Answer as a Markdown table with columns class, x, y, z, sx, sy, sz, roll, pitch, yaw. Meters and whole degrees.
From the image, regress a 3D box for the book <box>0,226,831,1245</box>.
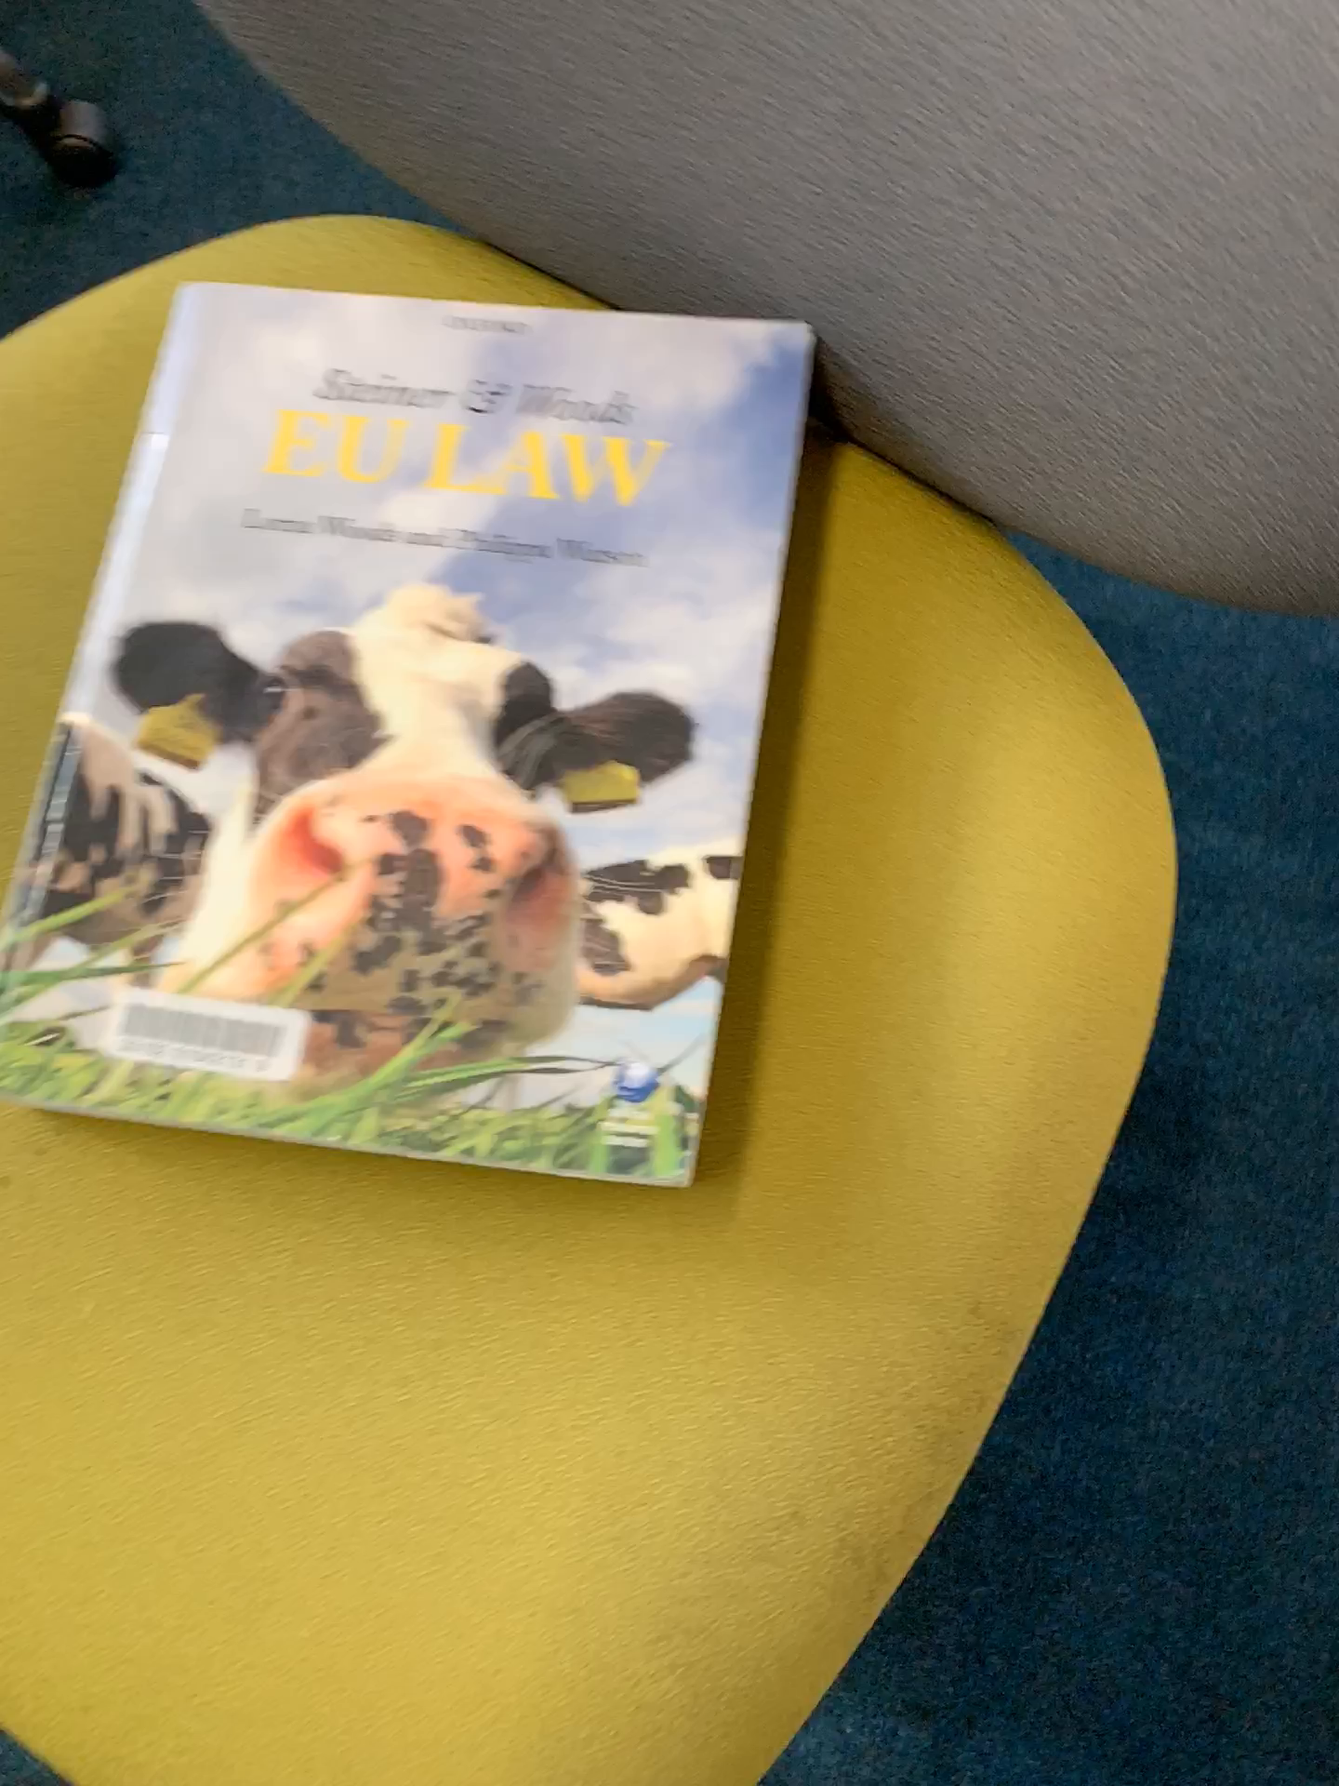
| class | x | y | z | sx | sy | sz | roll | pitch | yaw |
| --- | --- | --- | --- | --- | --- | --- | --- | --- | --- |
| book | -0.069 | -0.052 | 0.370 | 0.200 | 0.050 | 0.261 | 6 | 72 | 5 |
